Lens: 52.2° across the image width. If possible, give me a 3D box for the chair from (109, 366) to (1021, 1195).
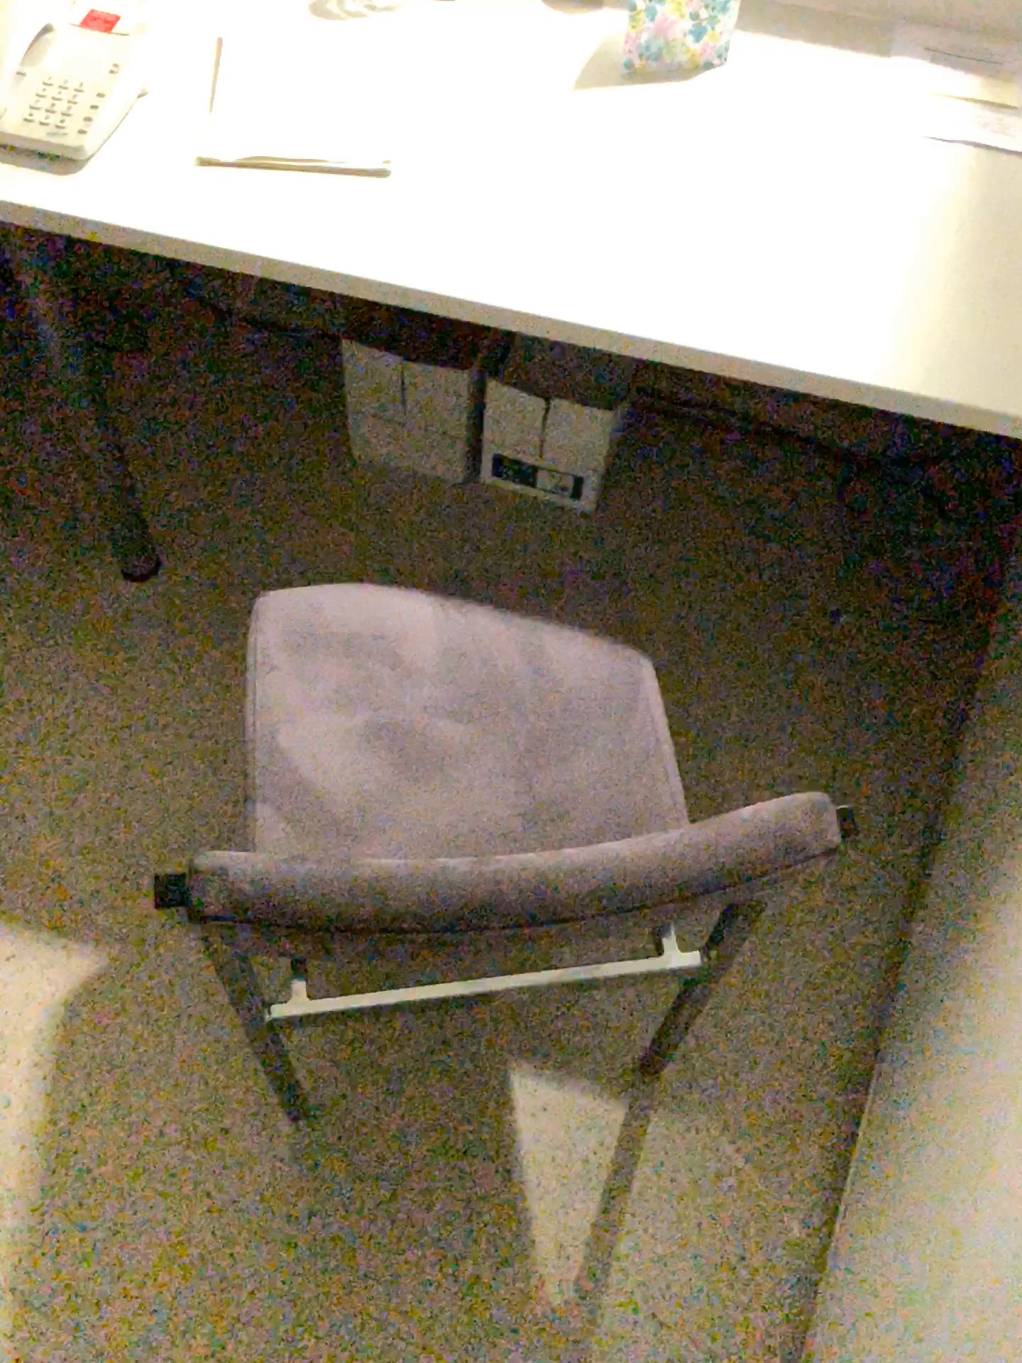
[{"bbox_3d":[-0.002,0.131,1.065,0.570,0.665,0.554,-2,55,-7],"label":"chair"}]
